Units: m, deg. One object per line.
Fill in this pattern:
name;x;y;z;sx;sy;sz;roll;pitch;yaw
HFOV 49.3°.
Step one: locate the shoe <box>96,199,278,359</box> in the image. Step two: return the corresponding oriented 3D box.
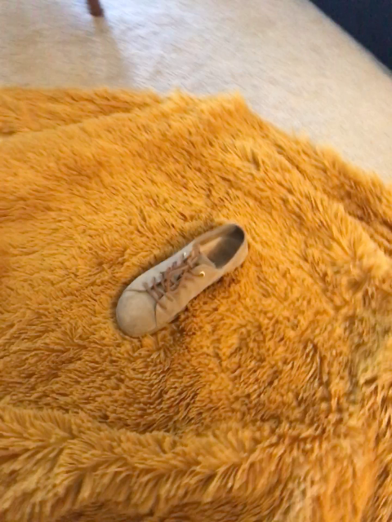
shoe;-0.009;0.020;0.644;0.259;0.070;0.100;-35;67;-23
